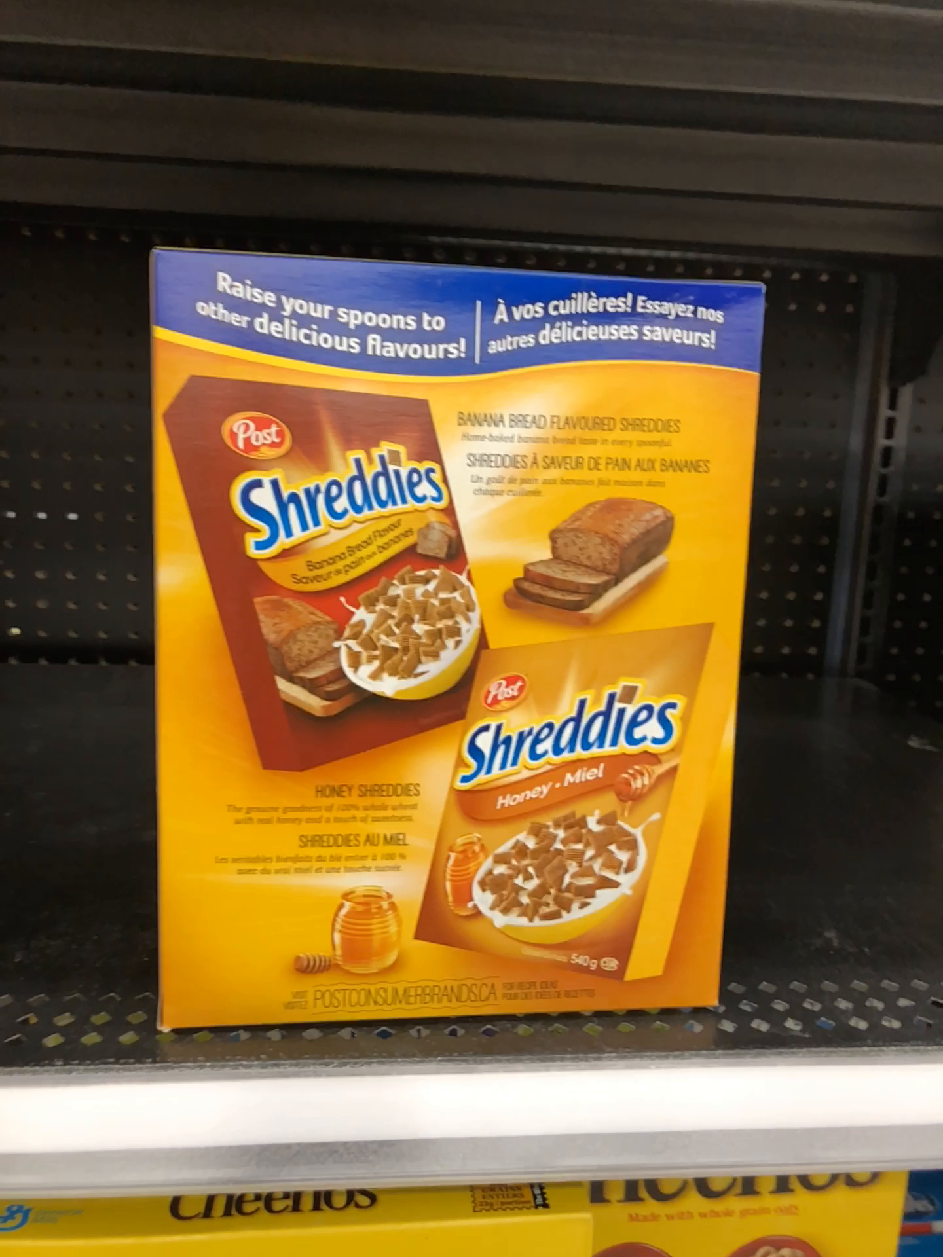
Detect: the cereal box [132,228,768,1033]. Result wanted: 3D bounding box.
[{"bbox_3d":[-0.011,0.004,0.390,0.210,0.269,0.060,1,8,-9],"label":"cereal box"}]
